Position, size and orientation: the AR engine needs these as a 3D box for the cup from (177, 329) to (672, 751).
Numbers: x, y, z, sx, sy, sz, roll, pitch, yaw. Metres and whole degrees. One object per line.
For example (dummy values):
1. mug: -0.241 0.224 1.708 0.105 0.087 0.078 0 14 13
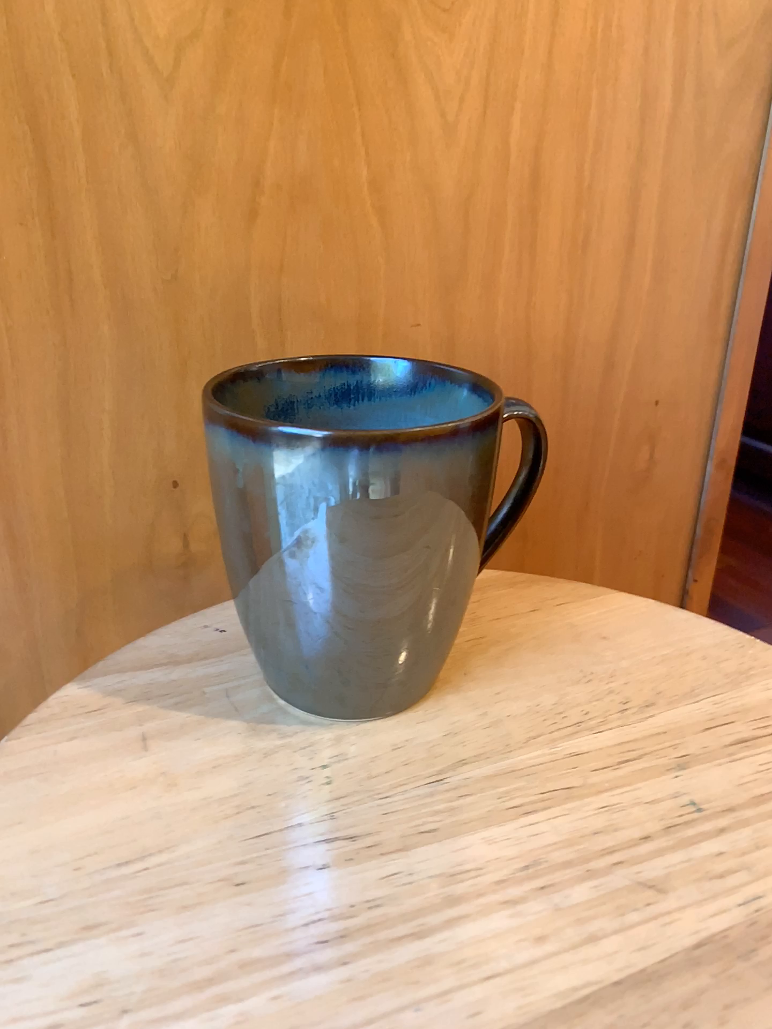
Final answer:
1. cup: 0.007 -0.002 0.248 0.120 0.090 0.080 -8 24 -21
